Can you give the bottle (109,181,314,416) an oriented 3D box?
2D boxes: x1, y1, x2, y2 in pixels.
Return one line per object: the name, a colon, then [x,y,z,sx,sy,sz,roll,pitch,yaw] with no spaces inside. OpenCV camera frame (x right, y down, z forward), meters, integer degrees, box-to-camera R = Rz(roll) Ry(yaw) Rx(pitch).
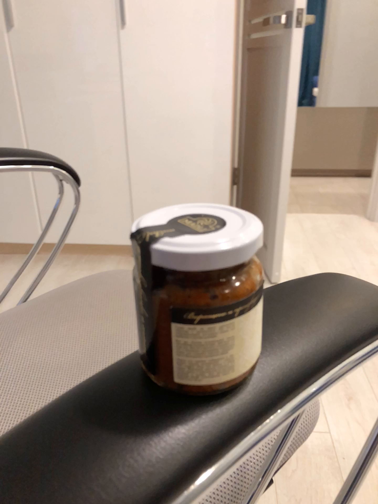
bottle: [0.007,0.014,0.183,0.060,0.070,0.060,-14,28,-26]
